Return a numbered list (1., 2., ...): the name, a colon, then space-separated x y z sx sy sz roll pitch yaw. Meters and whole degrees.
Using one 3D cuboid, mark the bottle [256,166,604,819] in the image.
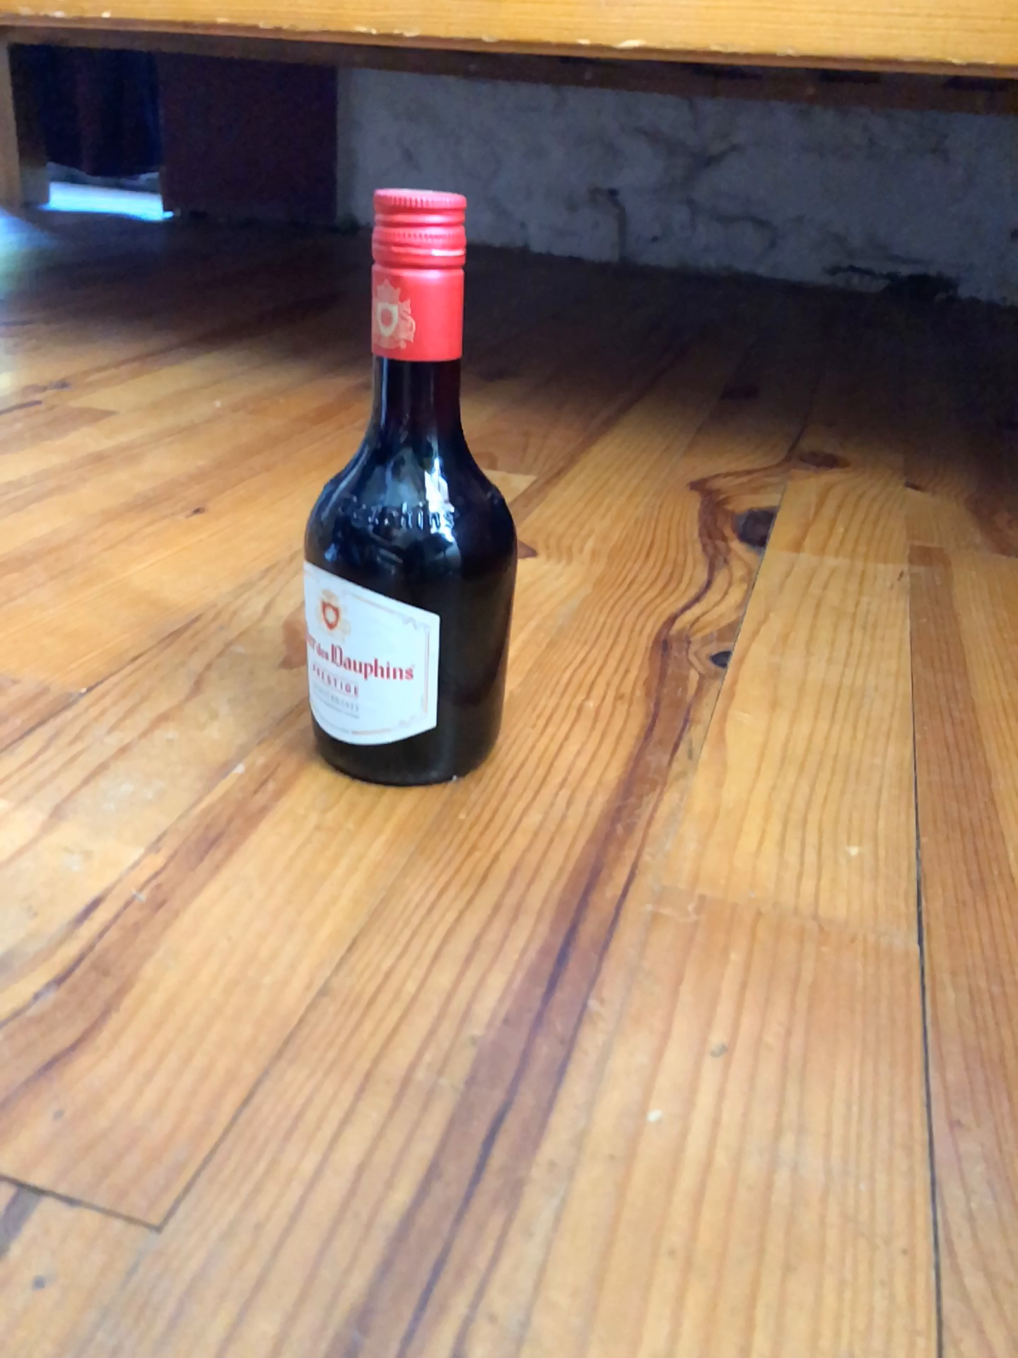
1. bottle: -0.028 -0.056 0.334 0.070 0.169 0.060 25 32 35
